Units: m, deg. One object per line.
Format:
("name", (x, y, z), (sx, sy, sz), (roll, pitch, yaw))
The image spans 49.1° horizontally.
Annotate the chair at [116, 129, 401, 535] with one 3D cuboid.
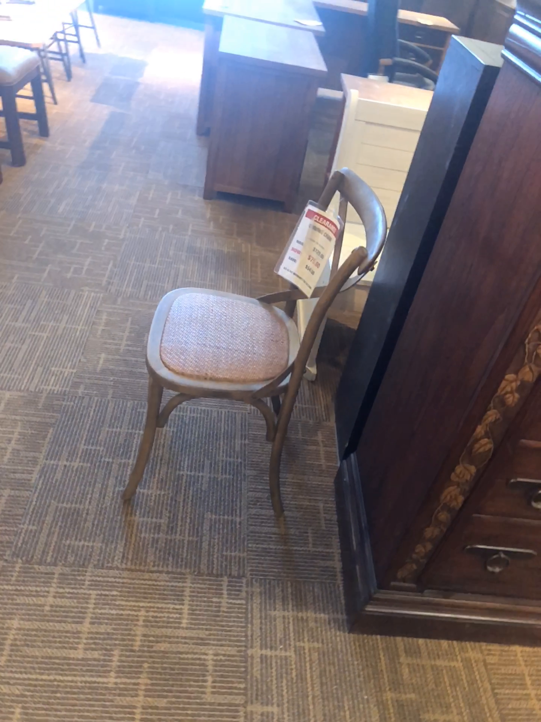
("chair", (-0.077, -0.045, 1.547), (0.529, 0.860, 0.493), (9, 38, -4))
